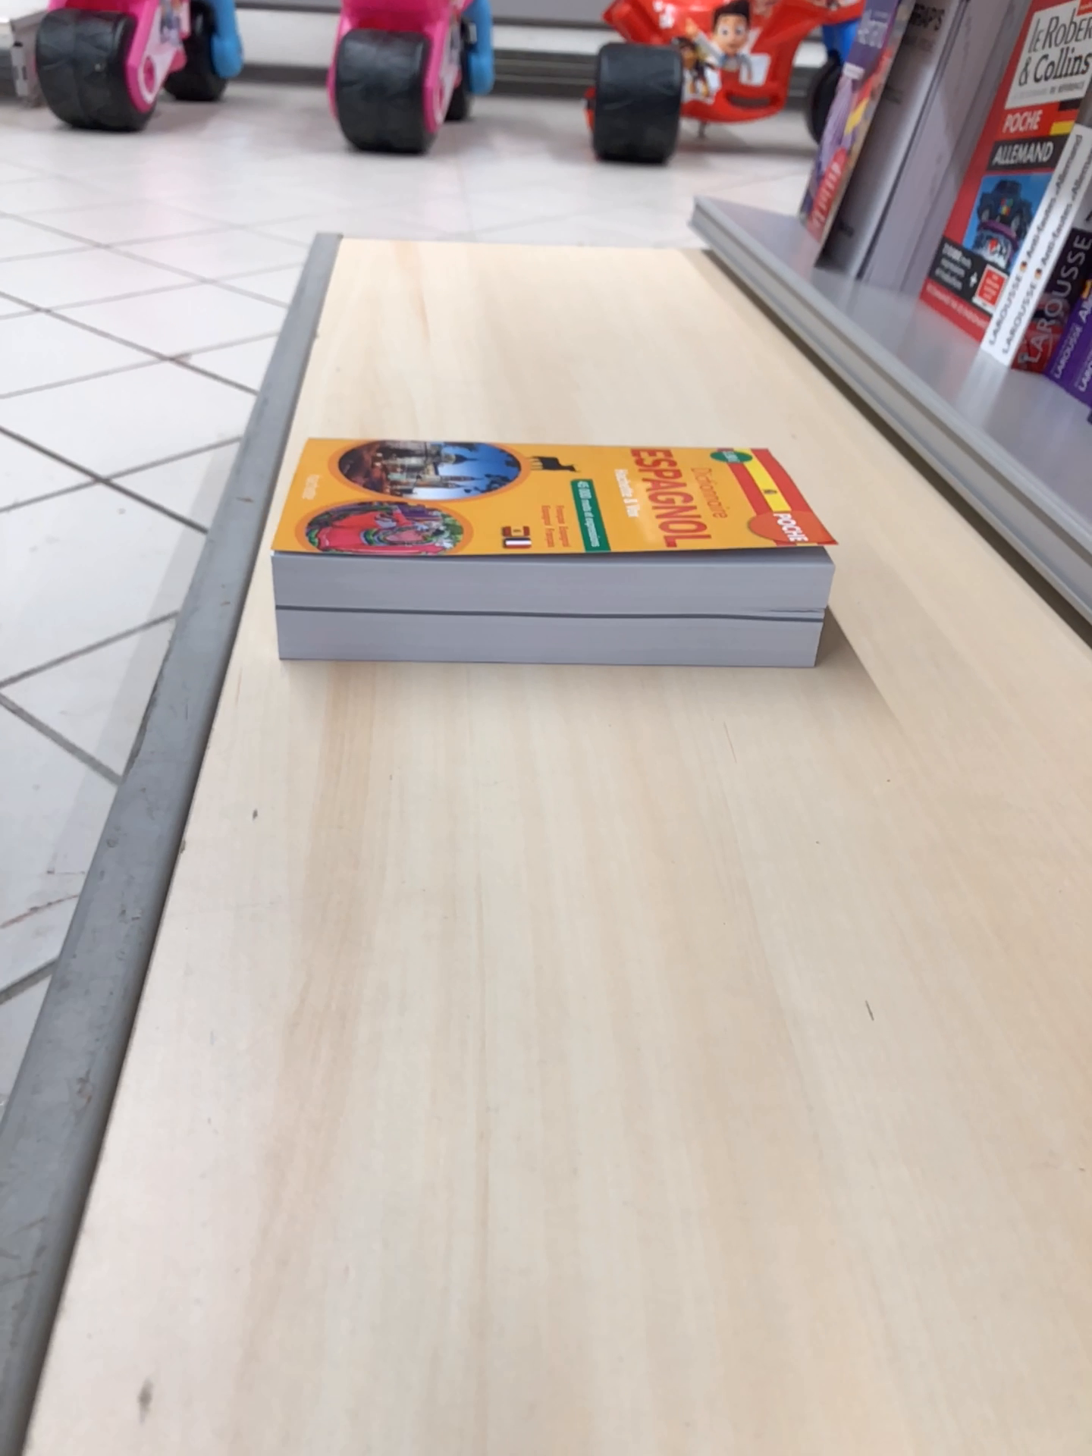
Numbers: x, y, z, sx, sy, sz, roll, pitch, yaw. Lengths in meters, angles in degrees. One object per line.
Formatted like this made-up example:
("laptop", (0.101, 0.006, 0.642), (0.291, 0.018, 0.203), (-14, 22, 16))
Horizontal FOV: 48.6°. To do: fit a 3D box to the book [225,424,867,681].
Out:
("book", (-0.001, -0.064, 0.418), (0.190, 0.040, 0.117), (1, 31, -3))
